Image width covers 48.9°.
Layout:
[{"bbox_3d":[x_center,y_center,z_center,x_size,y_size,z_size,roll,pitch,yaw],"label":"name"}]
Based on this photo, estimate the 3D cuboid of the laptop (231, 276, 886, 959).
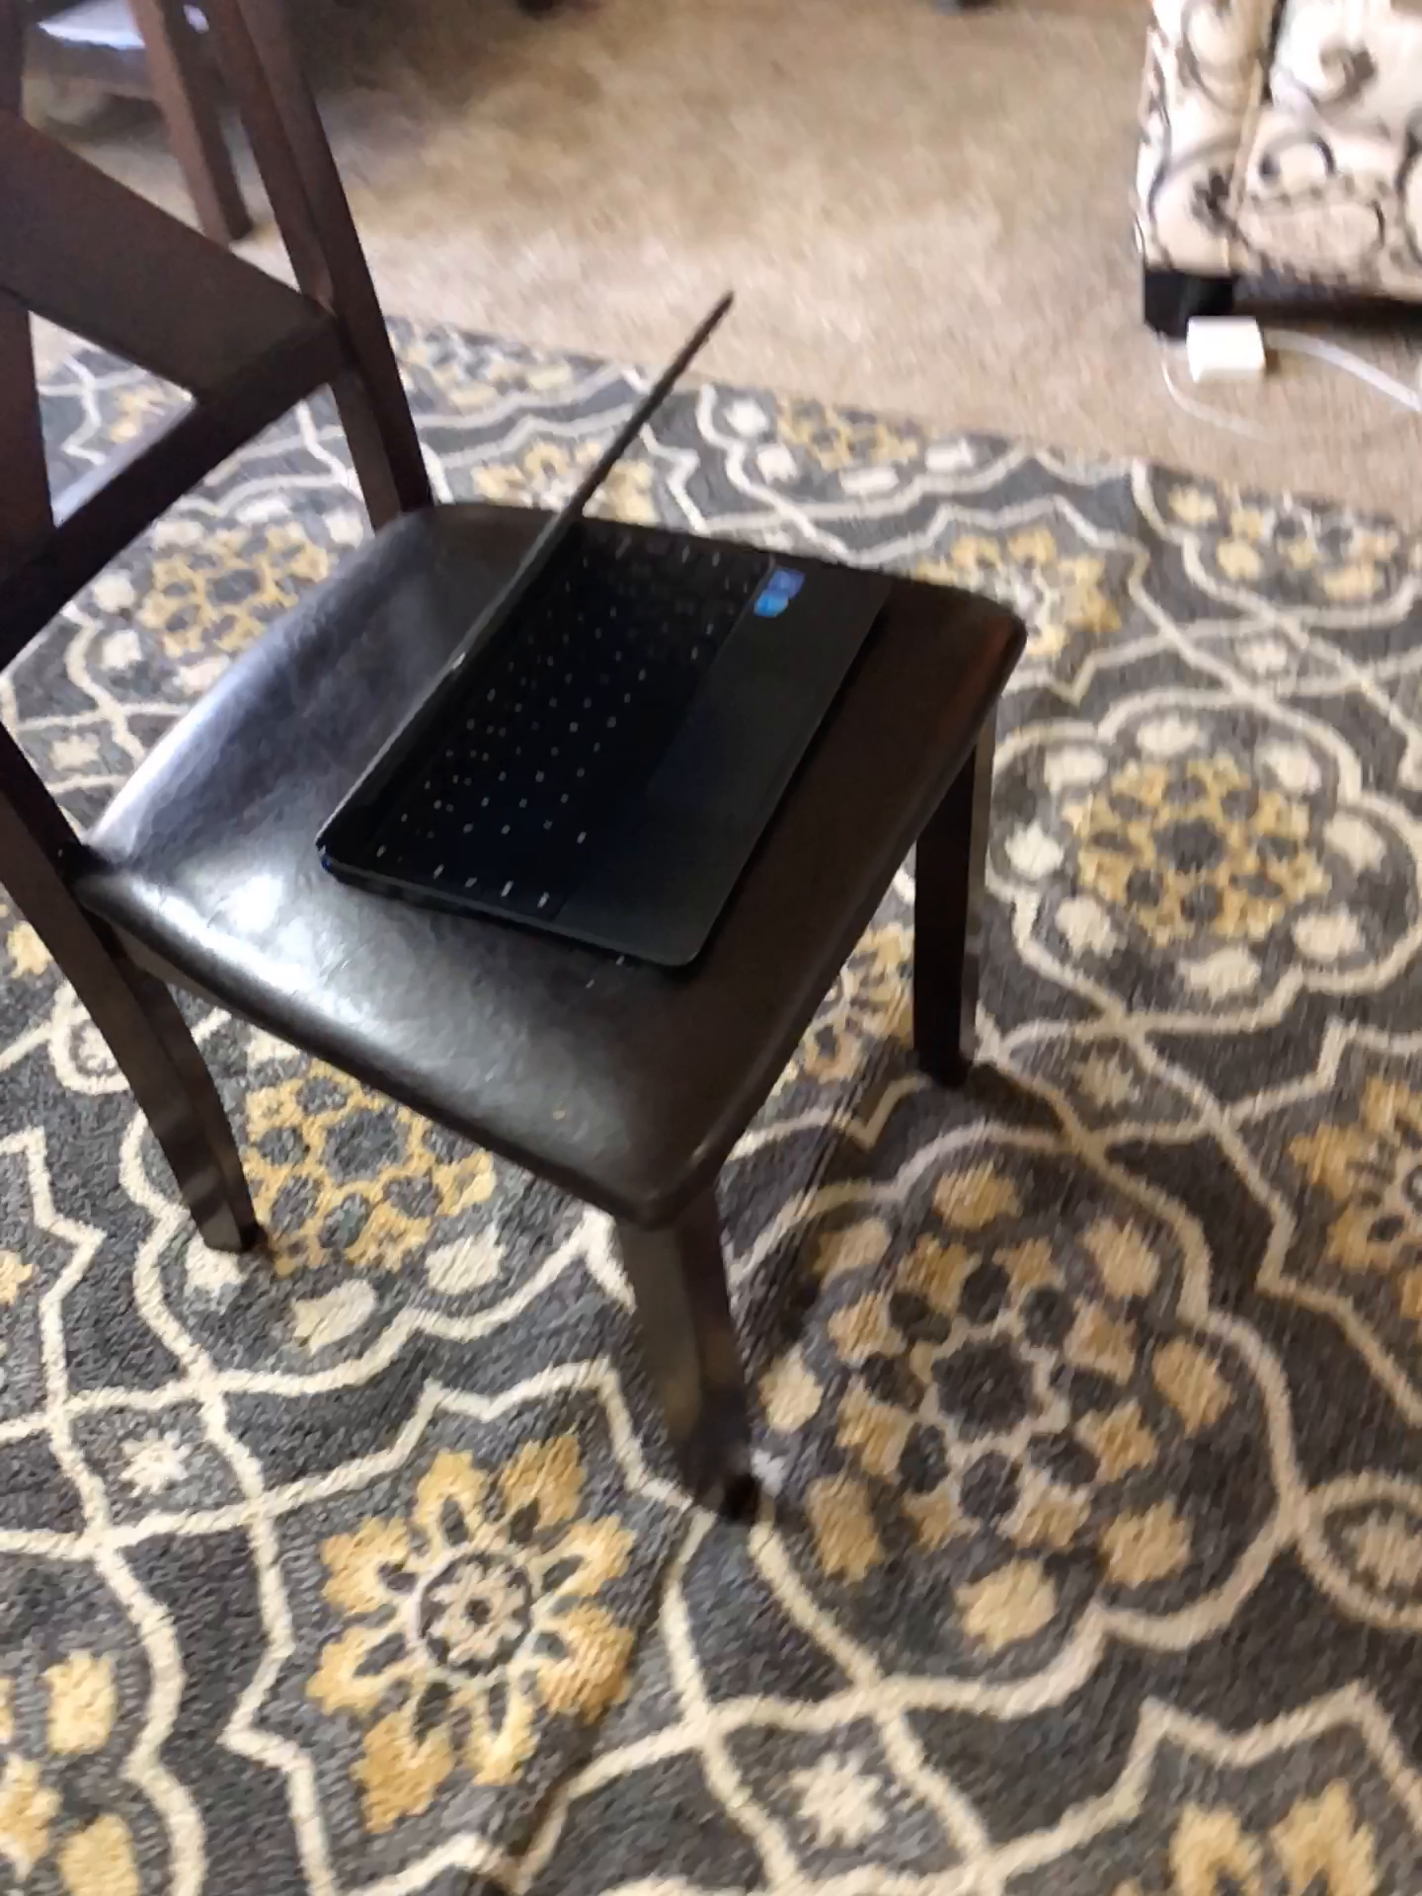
[{"bbox_3d":[-0.051,-0.166,0.740,0.191,0.155,0.264,16,53,17],"label":"laptop"}]
